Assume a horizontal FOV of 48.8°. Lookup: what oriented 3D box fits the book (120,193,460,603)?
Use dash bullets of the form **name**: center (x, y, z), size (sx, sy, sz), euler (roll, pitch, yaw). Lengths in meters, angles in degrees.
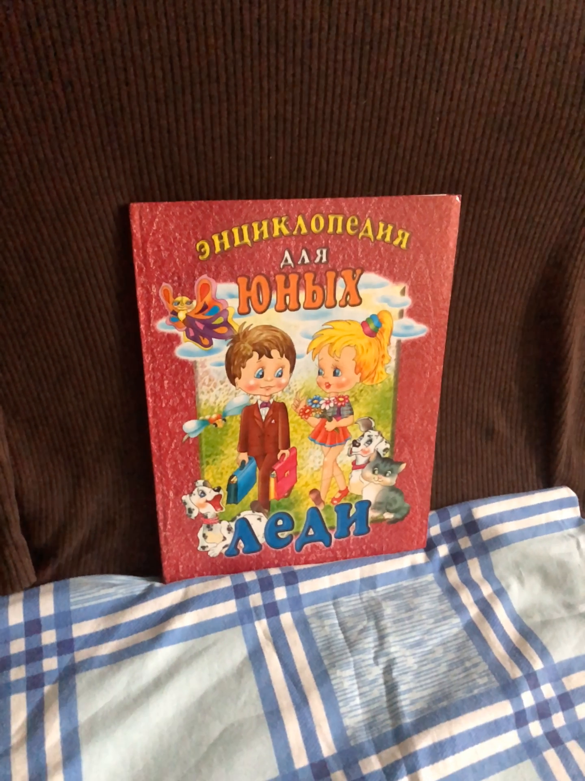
- **book**: center (0.002, 0.012, 0.487), size (0.230, 0.303, 0.020), euler (-6, 23, -15)
